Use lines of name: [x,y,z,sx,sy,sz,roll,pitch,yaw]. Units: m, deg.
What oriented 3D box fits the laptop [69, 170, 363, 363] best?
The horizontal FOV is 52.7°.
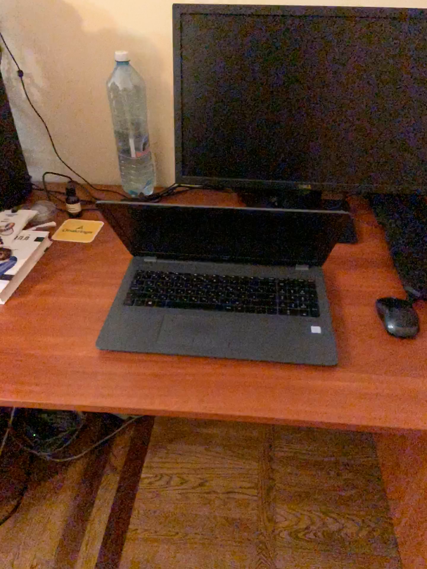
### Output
laptop: [0.009,-0.042,0.716,0.385,0.193,0.246,3,38,5]
